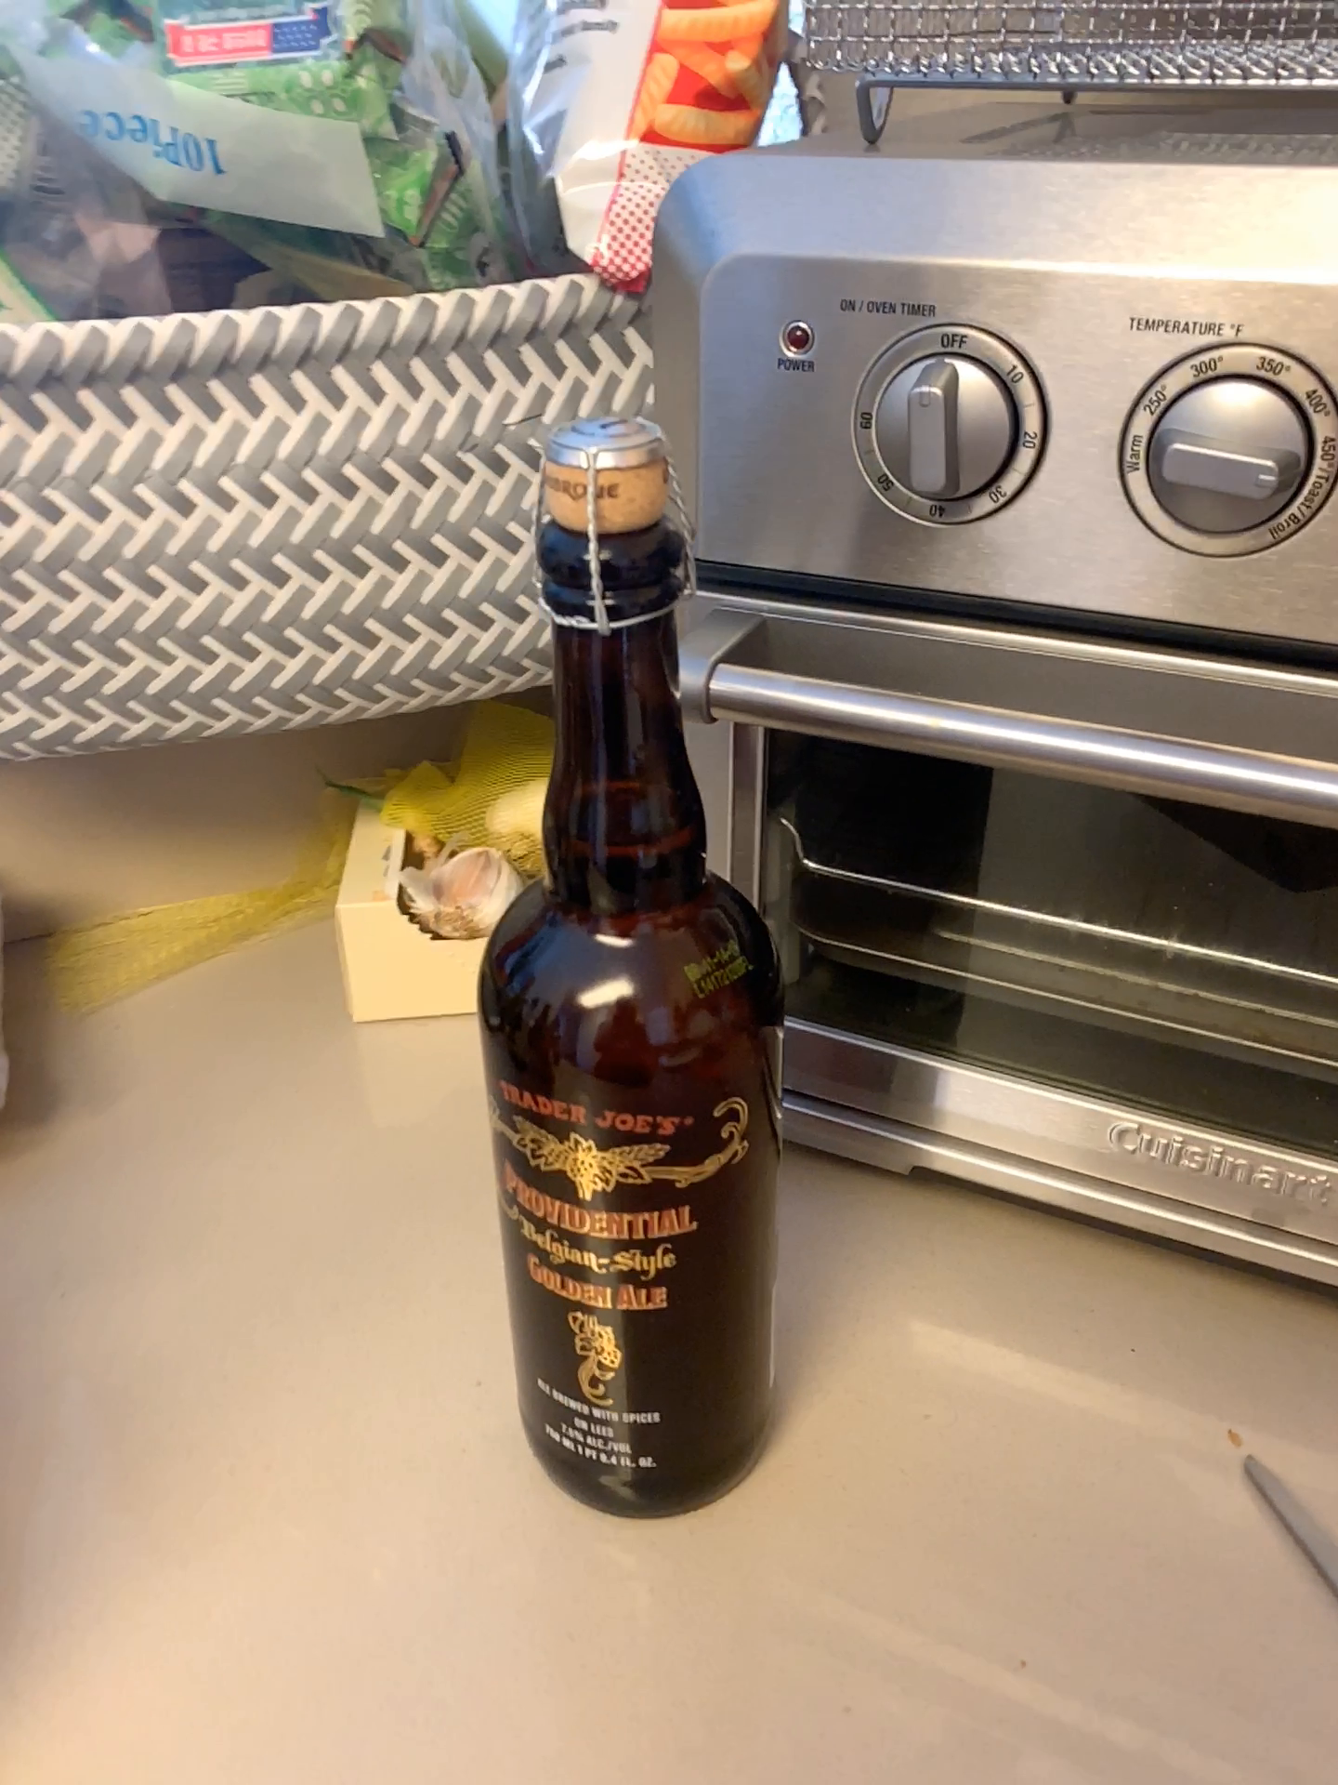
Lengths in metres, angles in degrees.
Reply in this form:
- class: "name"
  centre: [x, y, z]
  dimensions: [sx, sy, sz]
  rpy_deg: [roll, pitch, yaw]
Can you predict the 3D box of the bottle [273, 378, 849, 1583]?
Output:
- class: "bottle"
  centre: [-0.015, 0.036, 0.350]
  dimensions: [0.090, 0.298, 0.080]
  rpy_deg: [9, 32, 17]
